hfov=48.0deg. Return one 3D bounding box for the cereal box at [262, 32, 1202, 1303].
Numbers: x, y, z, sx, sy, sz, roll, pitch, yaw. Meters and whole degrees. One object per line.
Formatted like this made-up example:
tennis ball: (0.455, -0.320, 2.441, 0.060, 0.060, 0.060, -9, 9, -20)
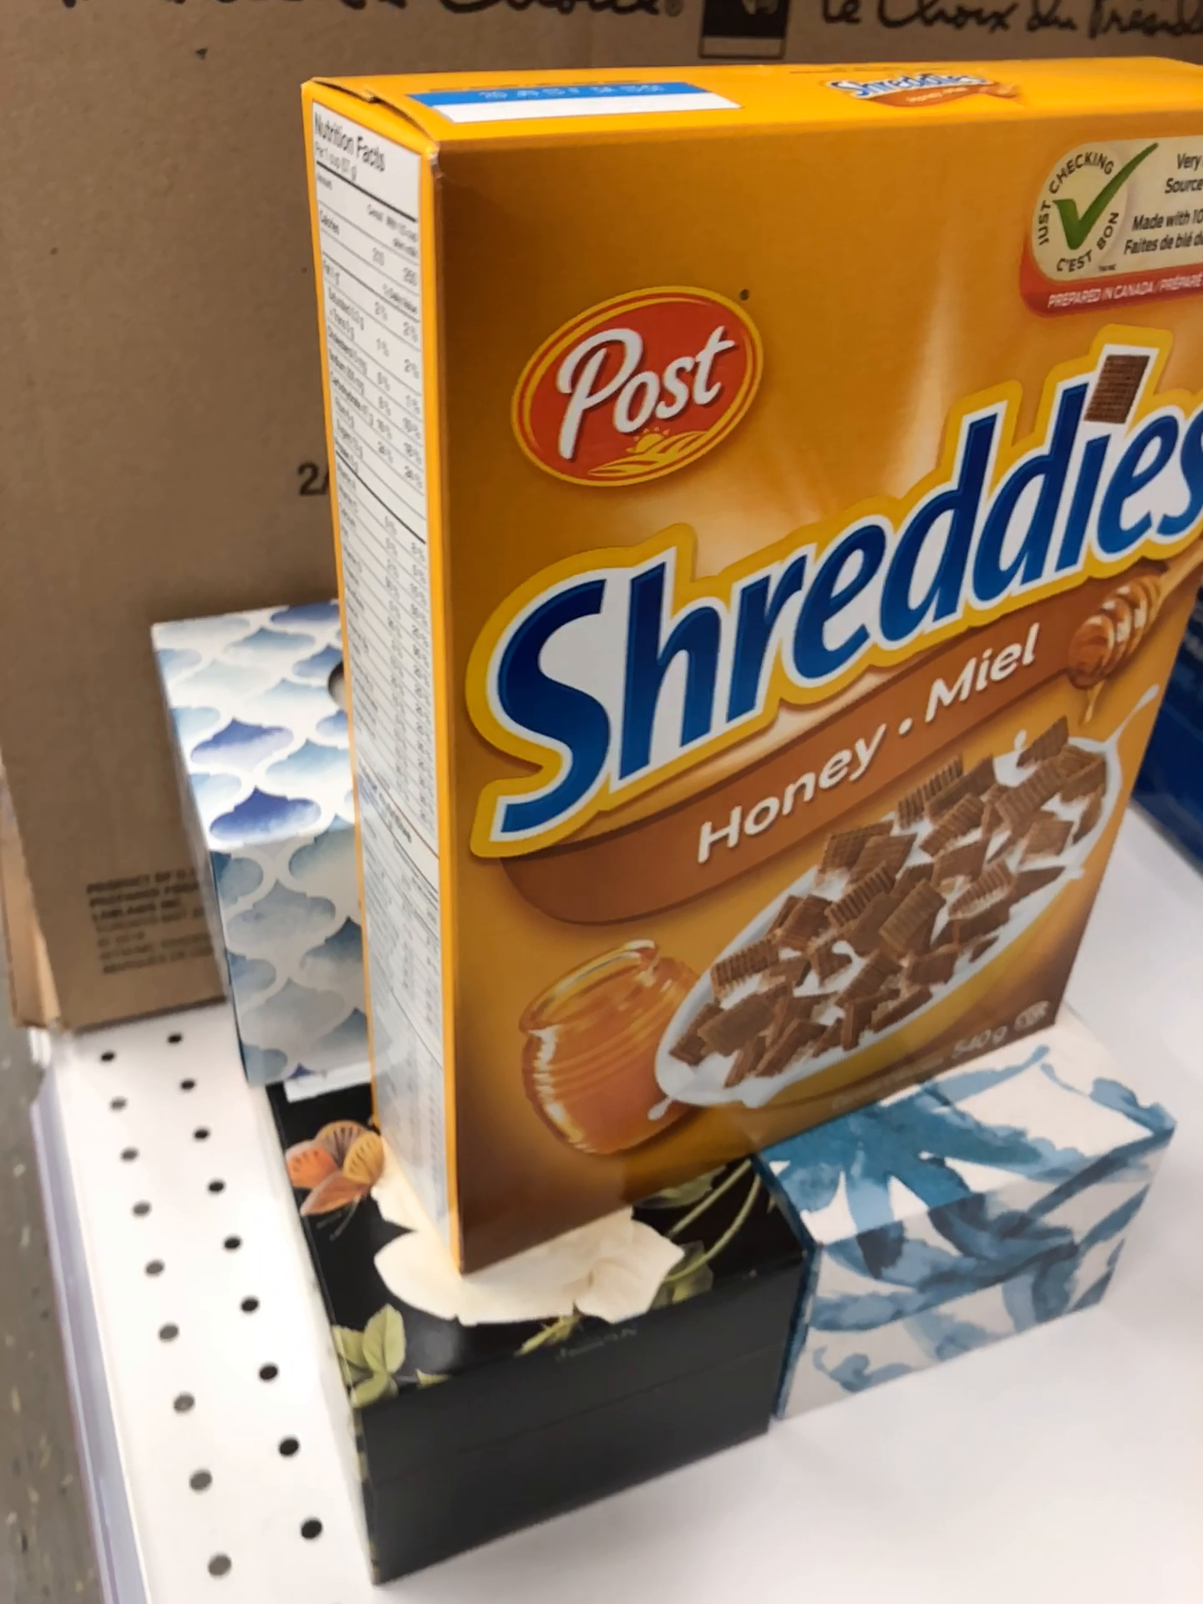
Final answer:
cereal box: (0.049, -0.029, 0.318, 0.220, 0.259, 0.060, -16, 39, -26)
